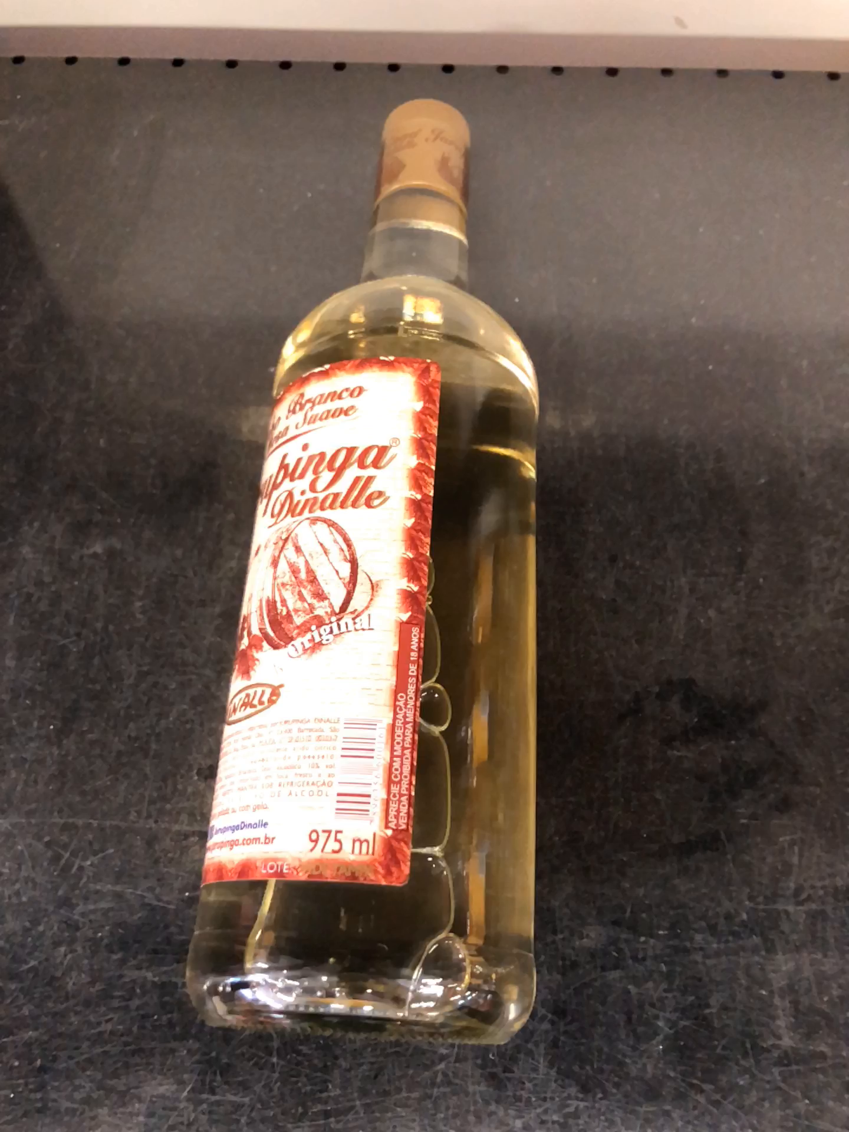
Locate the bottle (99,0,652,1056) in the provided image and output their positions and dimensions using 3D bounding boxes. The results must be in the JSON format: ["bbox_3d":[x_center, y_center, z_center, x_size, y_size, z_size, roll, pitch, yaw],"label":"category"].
[{"bbox_3d":[-0.005,-0.031,0.276,0.100,0.080,0.301,17,63,-29],"label":"bottle"}]
